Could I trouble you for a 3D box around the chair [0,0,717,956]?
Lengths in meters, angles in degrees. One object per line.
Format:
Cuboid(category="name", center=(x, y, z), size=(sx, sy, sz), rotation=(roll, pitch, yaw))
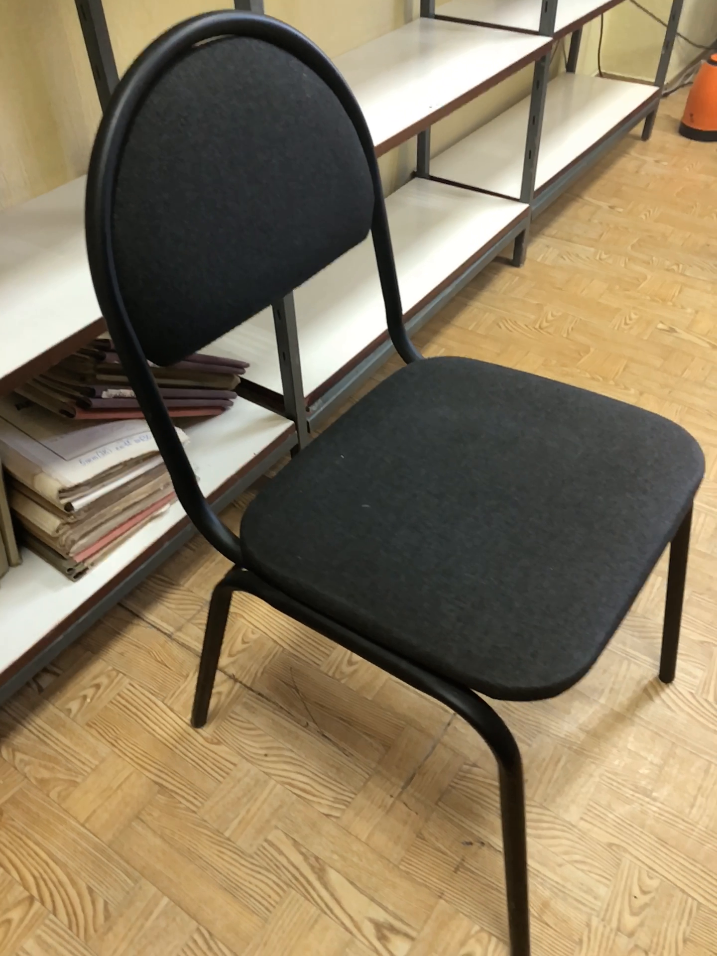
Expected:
Cuboid(category="chair", center=(0.070, 0.013, 0.839), size=(0.561, 0.835, 0.475), rotation=(27, 50, 26))
